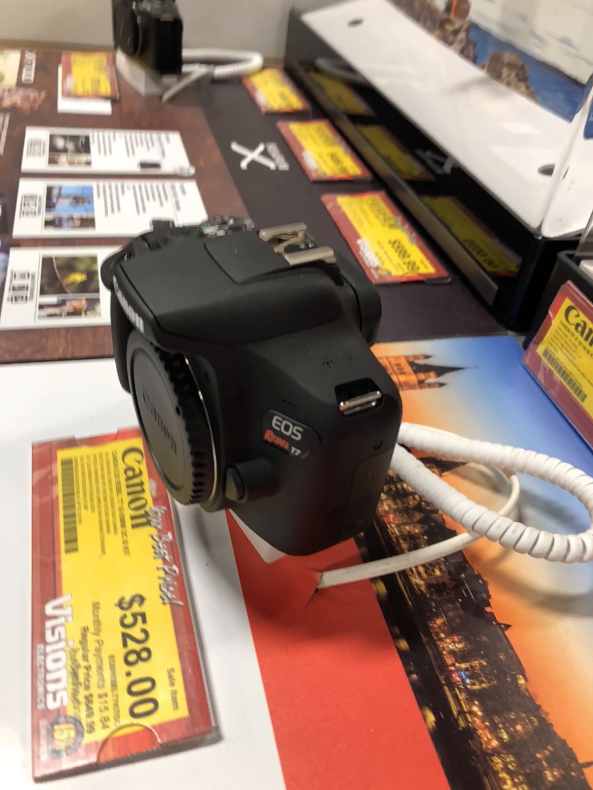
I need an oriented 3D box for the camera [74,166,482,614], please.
[{"bbox_3d":[-0.018,-0.012,0.244,0.080,0.089,0.131,-17,46,-28],"label":"camera"}]
